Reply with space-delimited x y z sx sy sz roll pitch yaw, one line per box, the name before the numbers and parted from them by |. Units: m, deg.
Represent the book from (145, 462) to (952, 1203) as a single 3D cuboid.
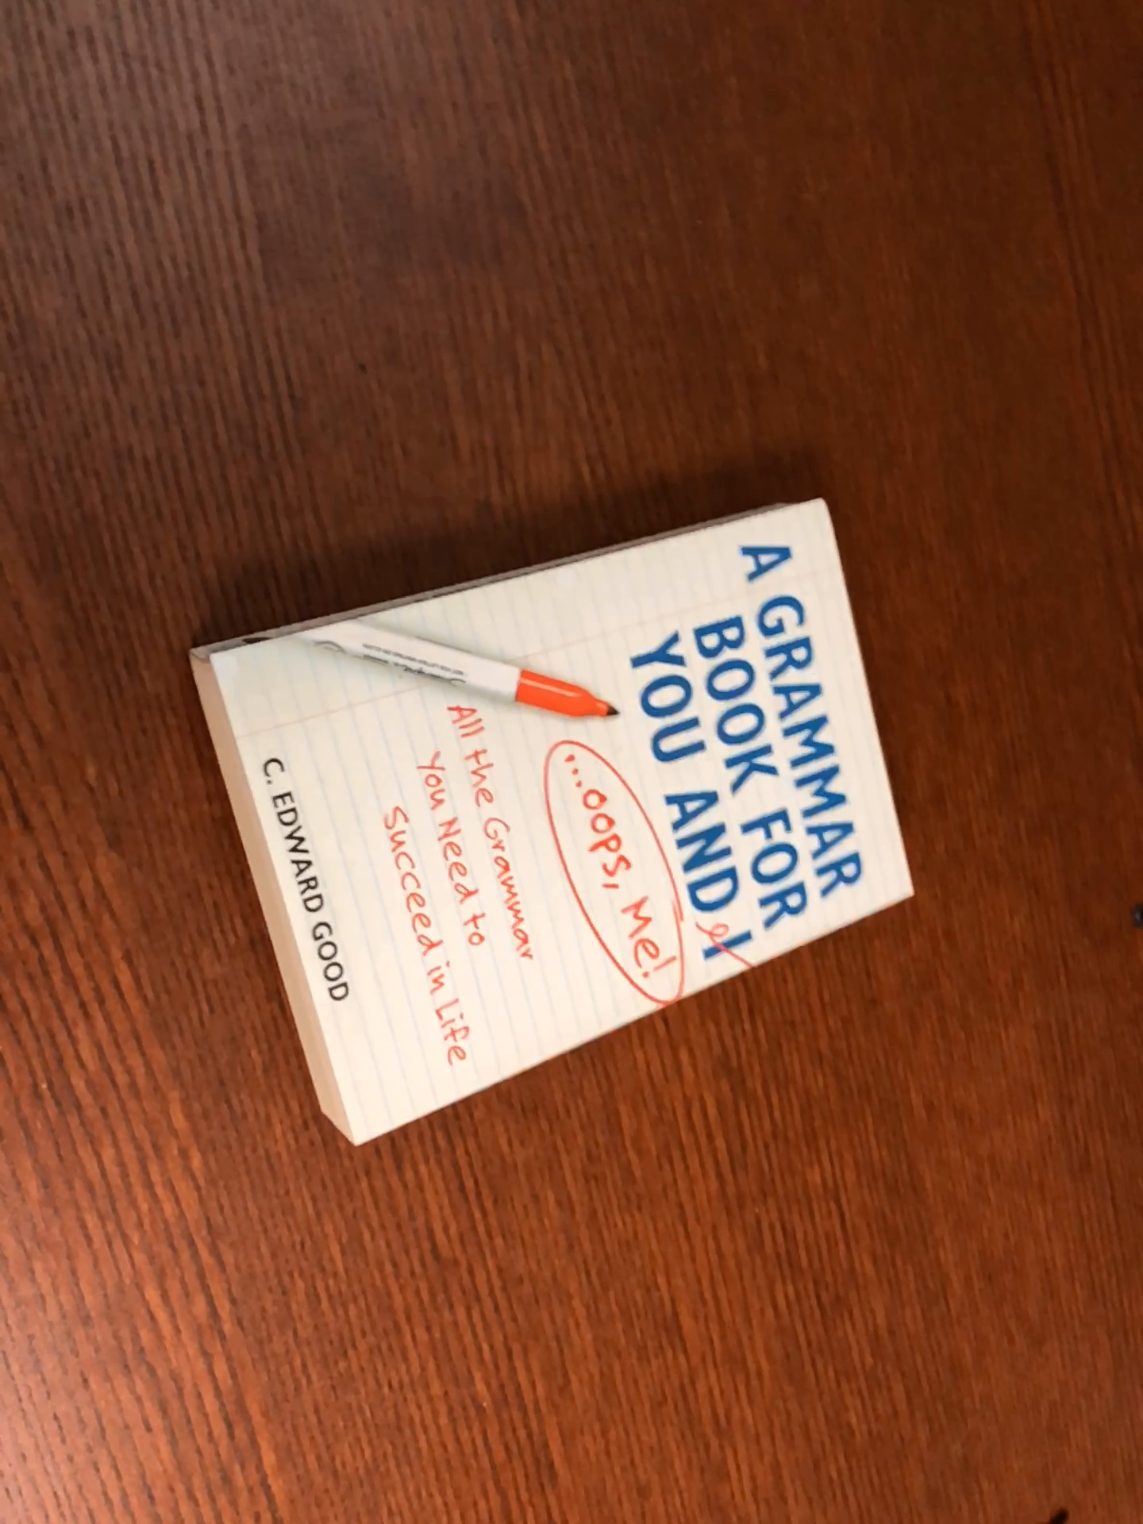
book | 0.007 0.010 0.418 0.241 0.040 0.170 -18 99 -26
